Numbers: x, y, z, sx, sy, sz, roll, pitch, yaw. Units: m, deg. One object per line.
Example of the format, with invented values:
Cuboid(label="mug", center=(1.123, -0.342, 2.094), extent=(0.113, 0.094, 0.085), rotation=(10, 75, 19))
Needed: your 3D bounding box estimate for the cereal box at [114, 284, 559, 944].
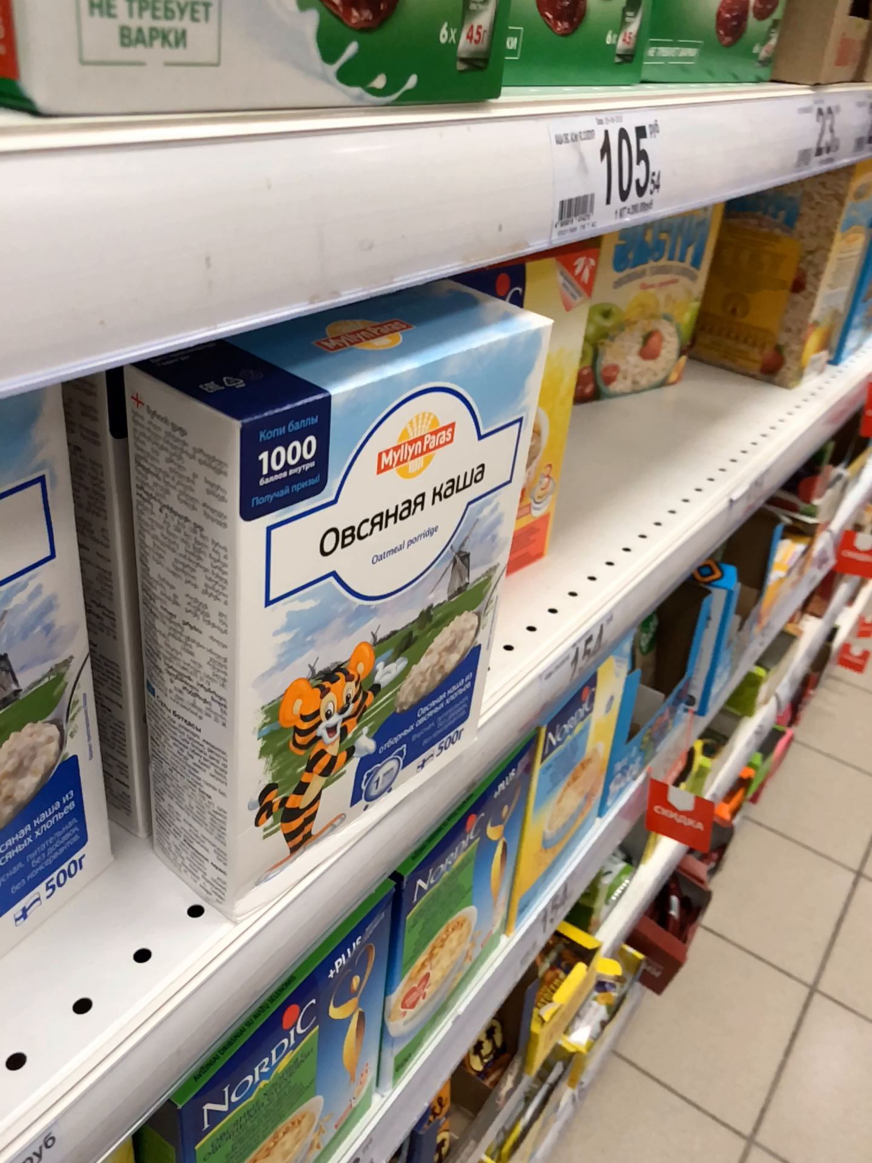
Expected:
Cuboid(label="cereal box", center=(-0.035, 0.009, 0.364), extent=(0.050, 0.209, 0.151), rotation=(29, 38, 30))
